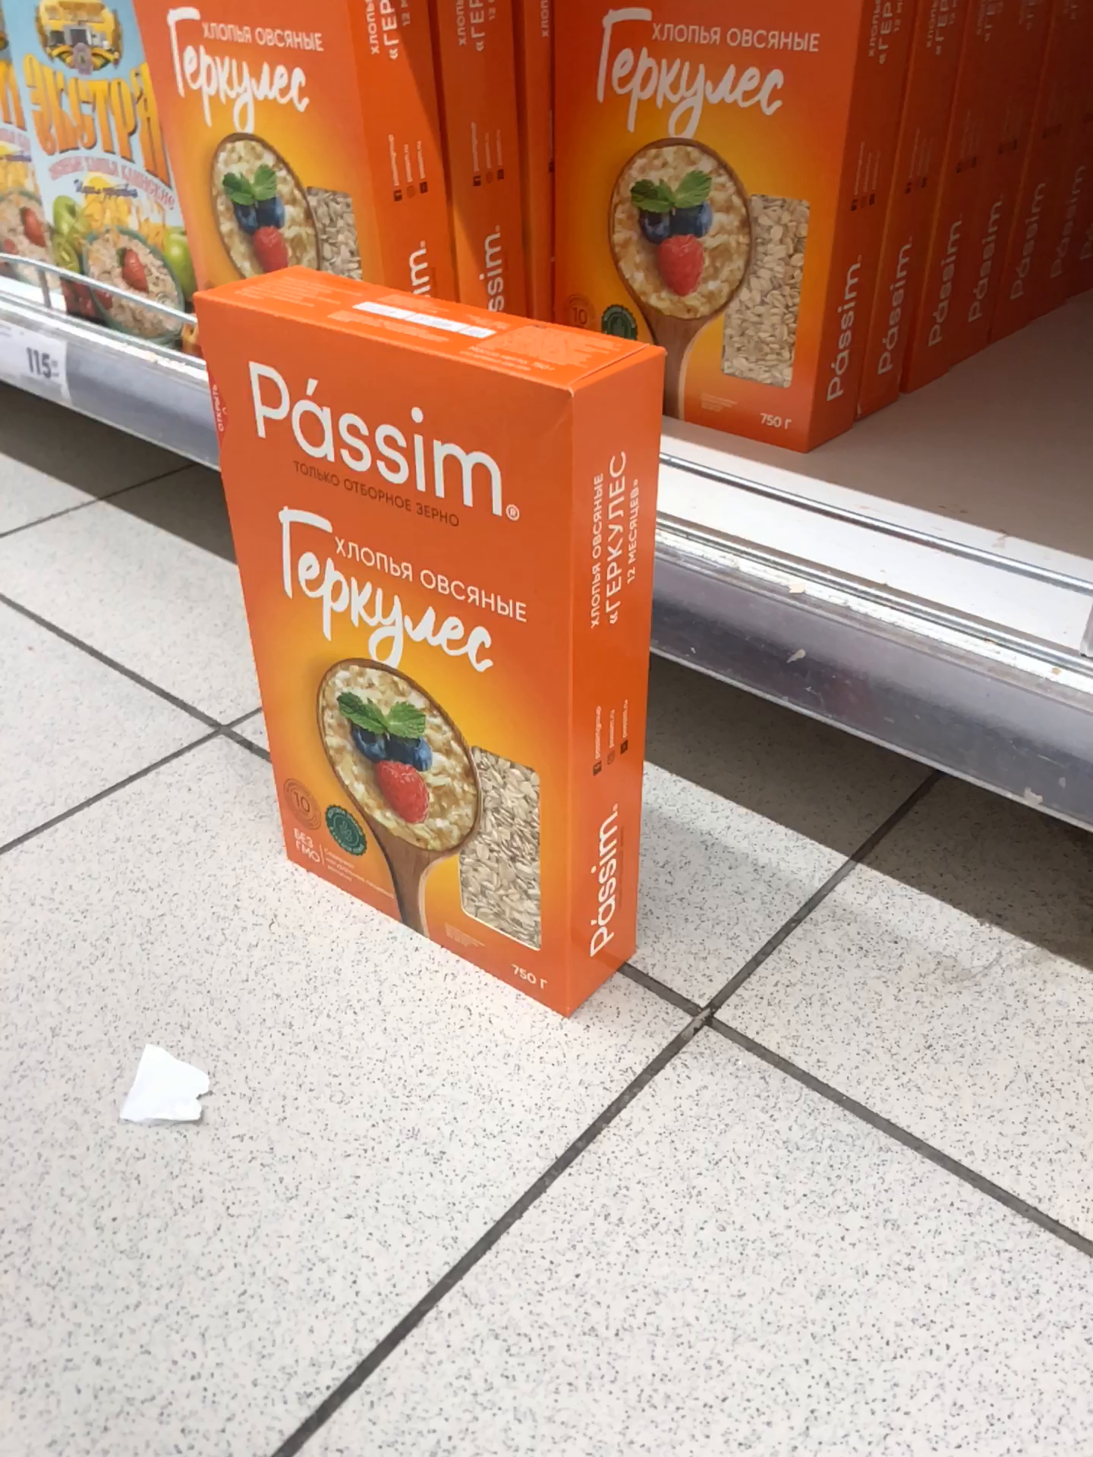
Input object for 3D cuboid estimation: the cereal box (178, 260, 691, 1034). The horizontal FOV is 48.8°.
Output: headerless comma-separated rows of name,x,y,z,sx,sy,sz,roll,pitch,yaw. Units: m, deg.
cereal box,-0.039,-0.027,0.447,0.170,0.249,0.050,23,41,30
